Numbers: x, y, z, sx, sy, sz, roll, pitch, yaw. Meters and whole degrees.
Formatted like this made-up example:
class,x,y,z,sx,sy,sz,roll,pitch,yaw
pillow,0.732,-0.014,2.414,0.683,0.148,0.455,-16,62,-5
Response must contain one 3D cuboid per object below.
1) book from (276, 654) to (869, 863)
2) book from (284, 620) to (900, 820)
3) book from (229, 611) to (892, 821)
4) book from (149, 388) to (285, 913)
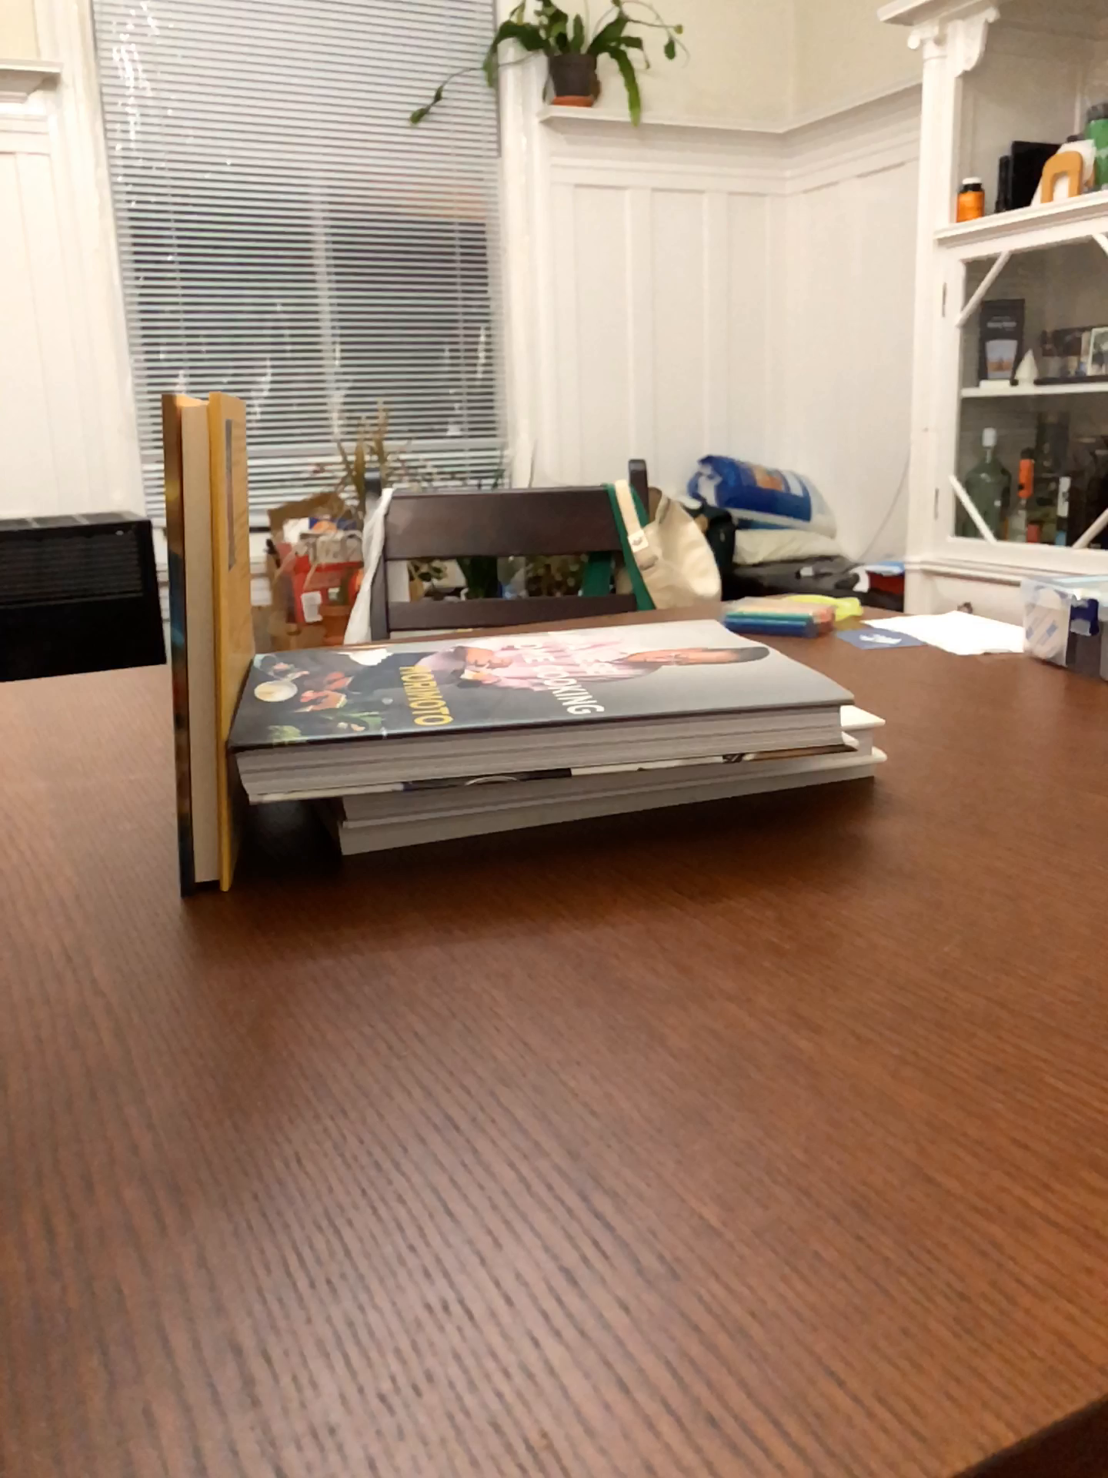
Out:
class,x,y,z,sx,sy,sz,roll,pitch,yaw
book,-0.003,-0.001,0.699,0.280,0.030,0.221,-8,15,-18
book,0.005,-0.022,0.668,0.280,0.030,0.221,-7,15,-16
book,-0.012,-0.022,0.611,0.280,0.030,0.221,-6,15,-11
book,-0.154,-0.057,0.583,0.030,0.209,0.211,-2,15,-9
